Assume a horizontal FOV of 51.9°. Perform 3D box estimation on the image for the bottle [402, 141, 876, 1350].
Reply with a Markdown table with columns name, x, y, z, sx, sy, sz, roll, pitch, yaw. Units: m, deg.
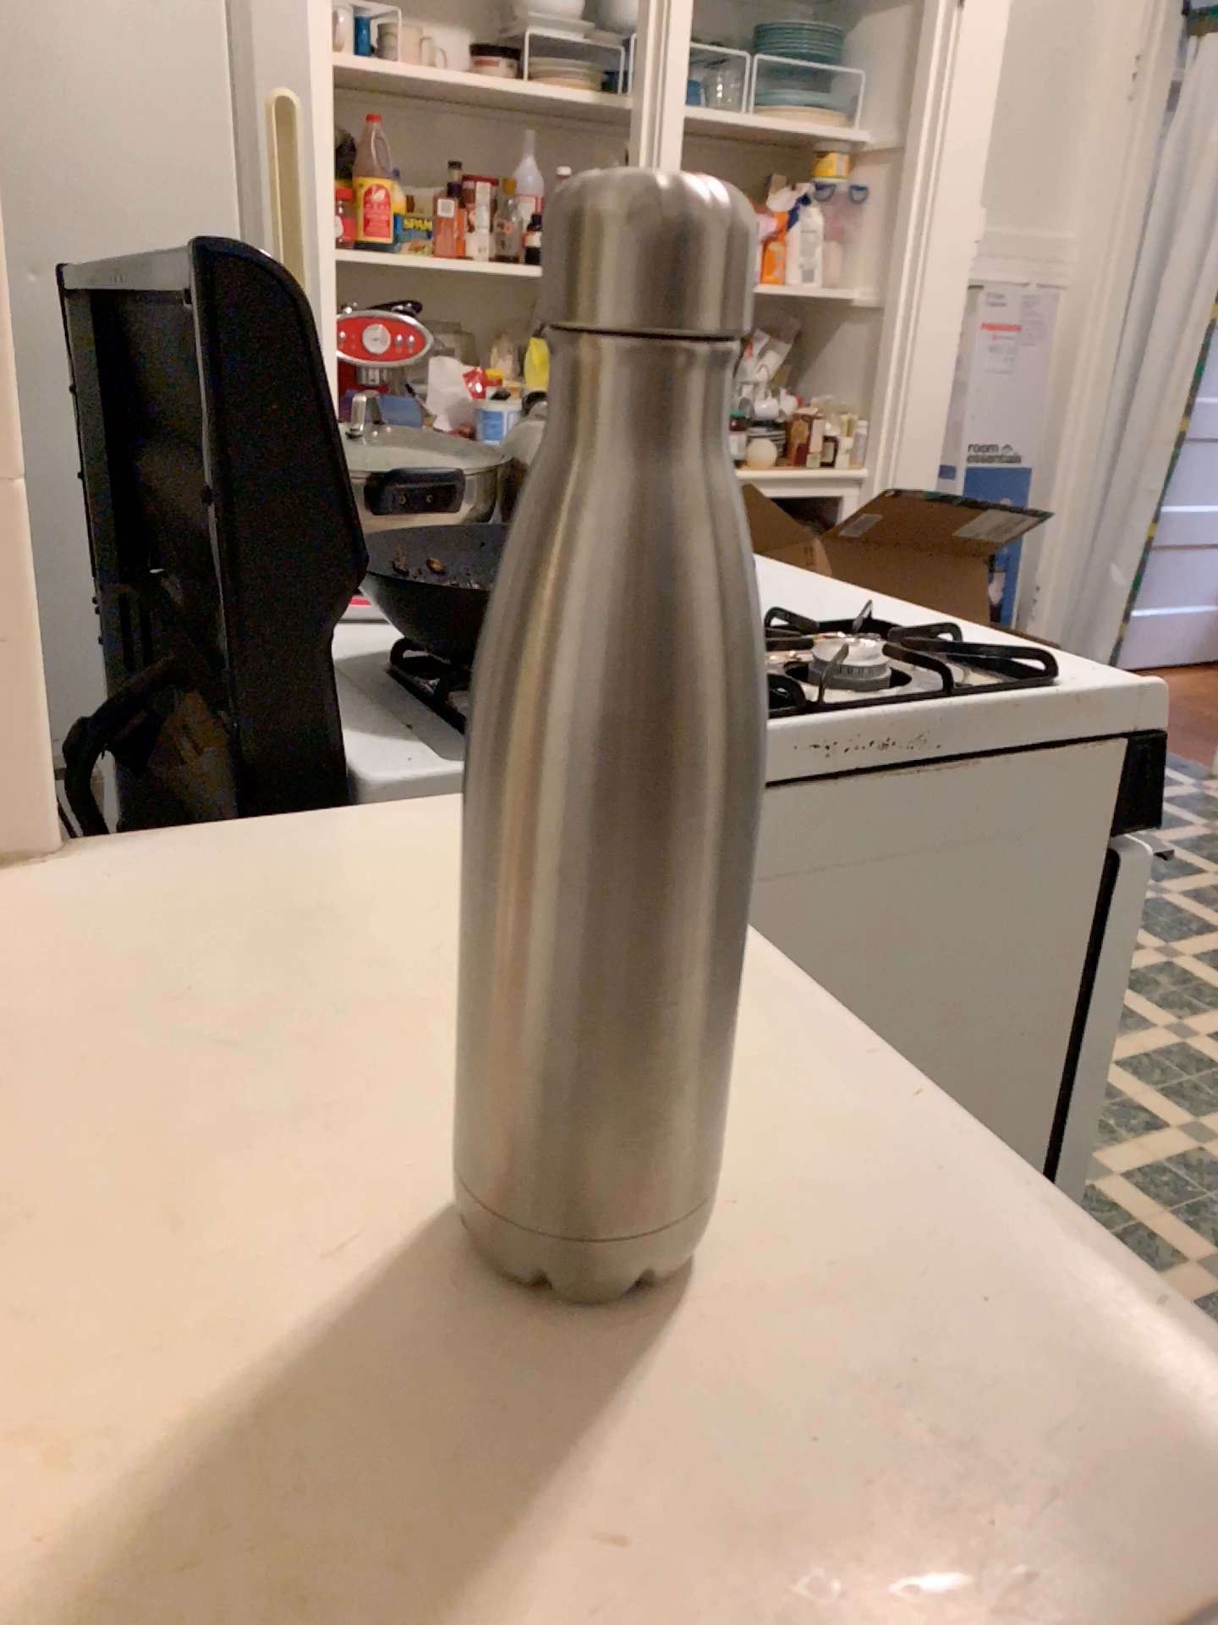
| name | x | y | z | sx | sy | sz | roll | pitch | yaw |
| --- | --- | --- | --- | --- | --- | --- | --- | --- | --- |
| bottle | -0.005 | -0.007 | 0.286 | 0.070 | 0.249 | 0.070 | 3 | 21 | -1 |
